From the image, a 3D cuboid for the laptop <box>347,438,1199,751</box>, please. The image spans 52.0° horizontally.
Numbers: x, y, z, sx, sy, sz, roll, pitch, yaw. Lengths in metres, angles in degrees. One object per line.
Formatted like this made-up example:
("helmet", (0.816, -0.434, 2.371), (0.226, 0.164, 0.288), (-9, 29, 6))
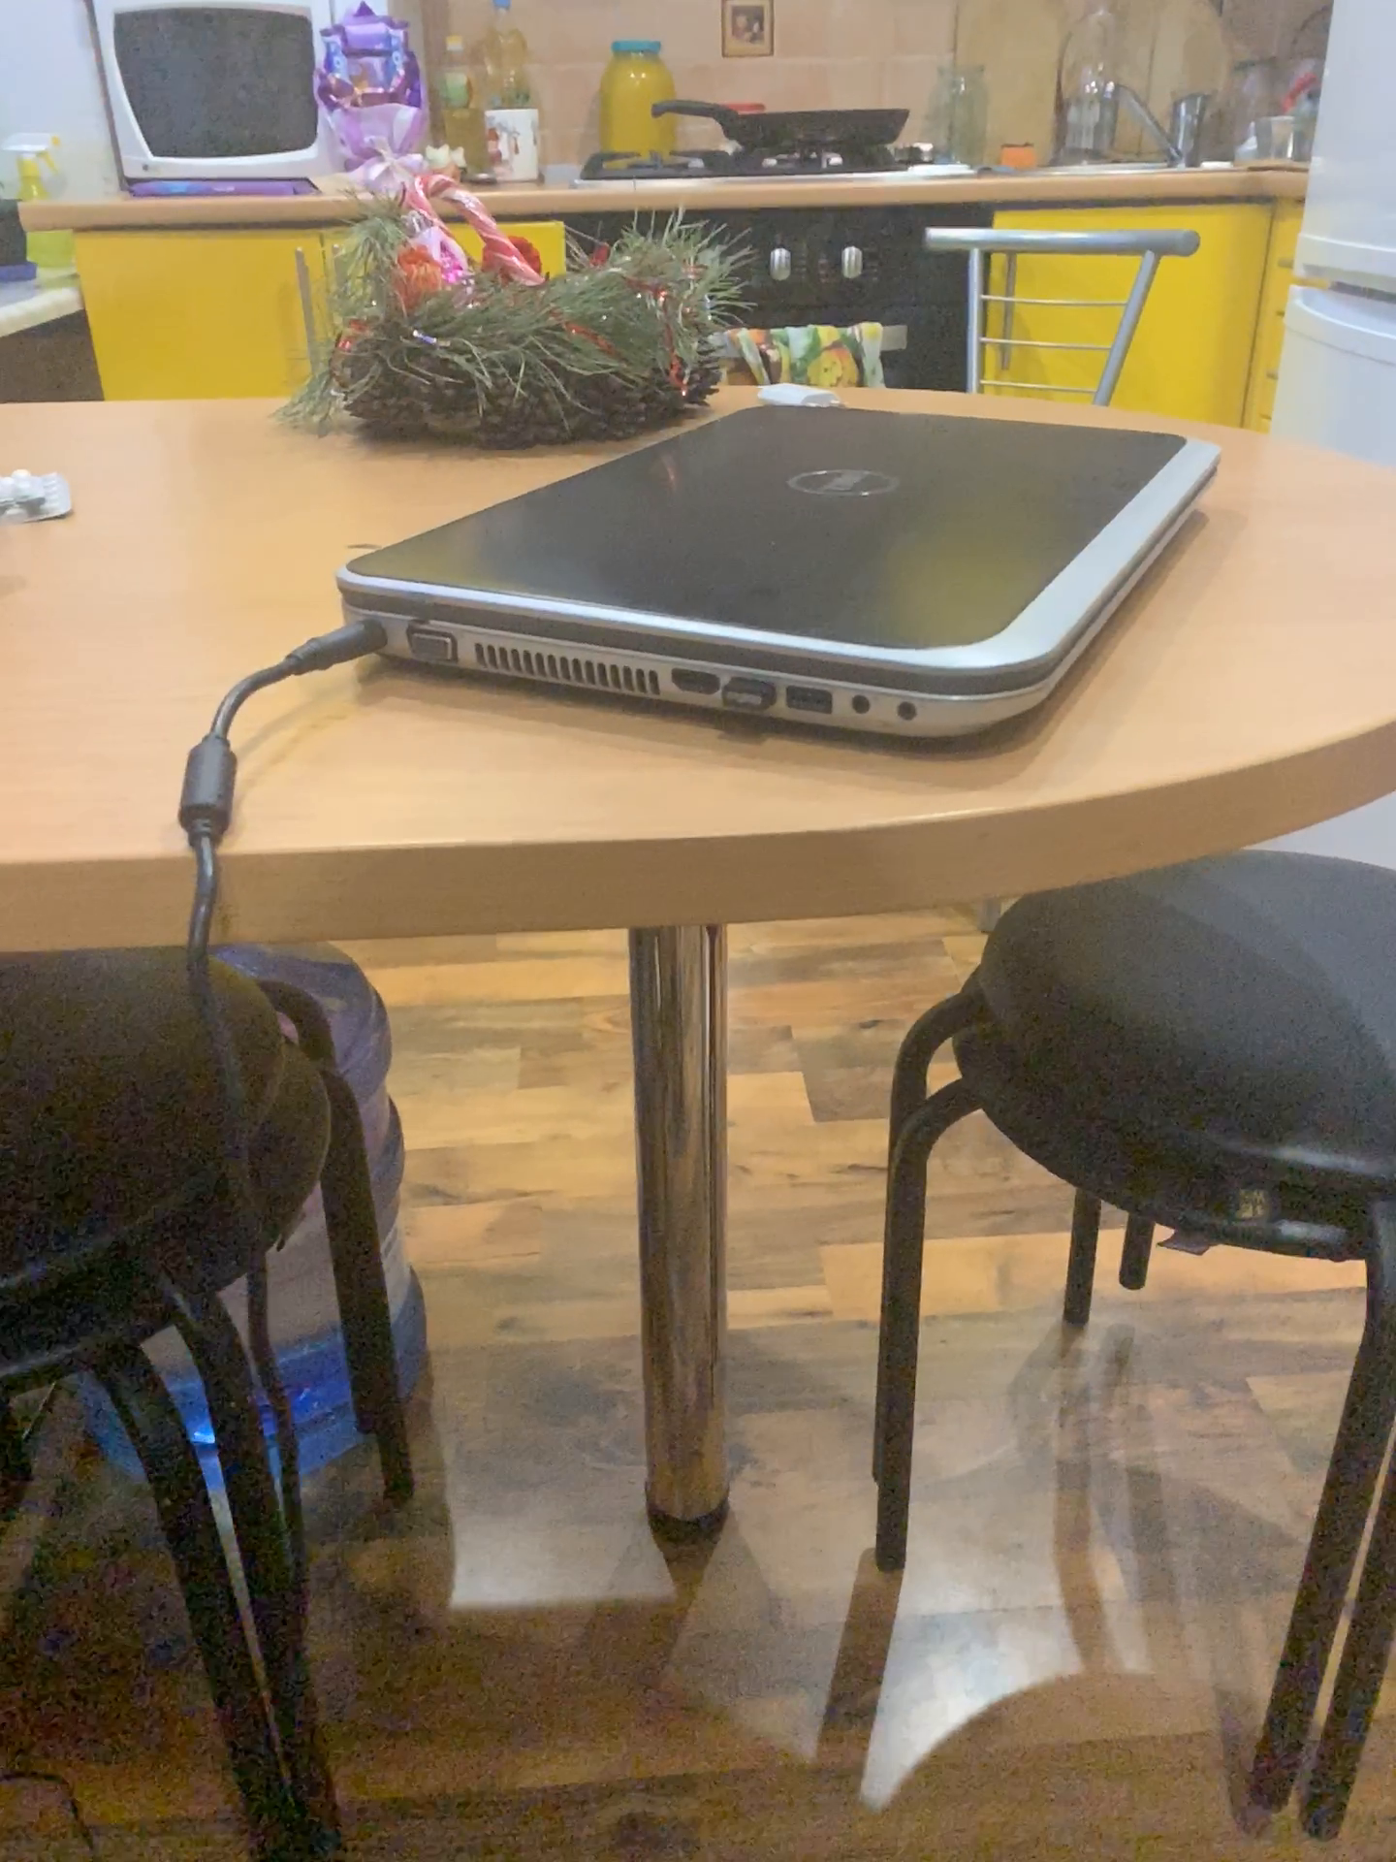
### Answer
("laptop", (0.059, -0.158, 0.588), (0.225, 0.004, 0.351), (16, 33, 22))
